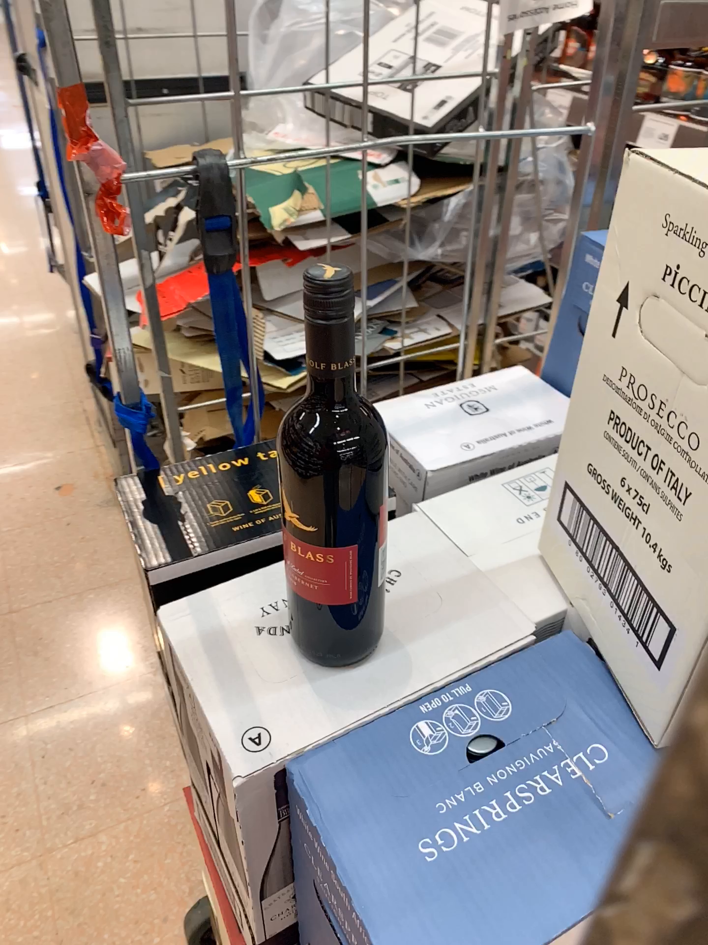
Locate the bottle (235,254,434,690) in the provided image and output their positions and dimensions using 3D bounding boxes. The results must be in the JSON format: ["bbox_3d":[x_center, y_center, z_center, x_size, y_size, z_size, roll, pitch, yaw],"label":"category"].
[{"bbox_3d":[-0.015,0.010,0.474,0.076,0.270,0.080,1,36,-1],"label":"bottle"}]
